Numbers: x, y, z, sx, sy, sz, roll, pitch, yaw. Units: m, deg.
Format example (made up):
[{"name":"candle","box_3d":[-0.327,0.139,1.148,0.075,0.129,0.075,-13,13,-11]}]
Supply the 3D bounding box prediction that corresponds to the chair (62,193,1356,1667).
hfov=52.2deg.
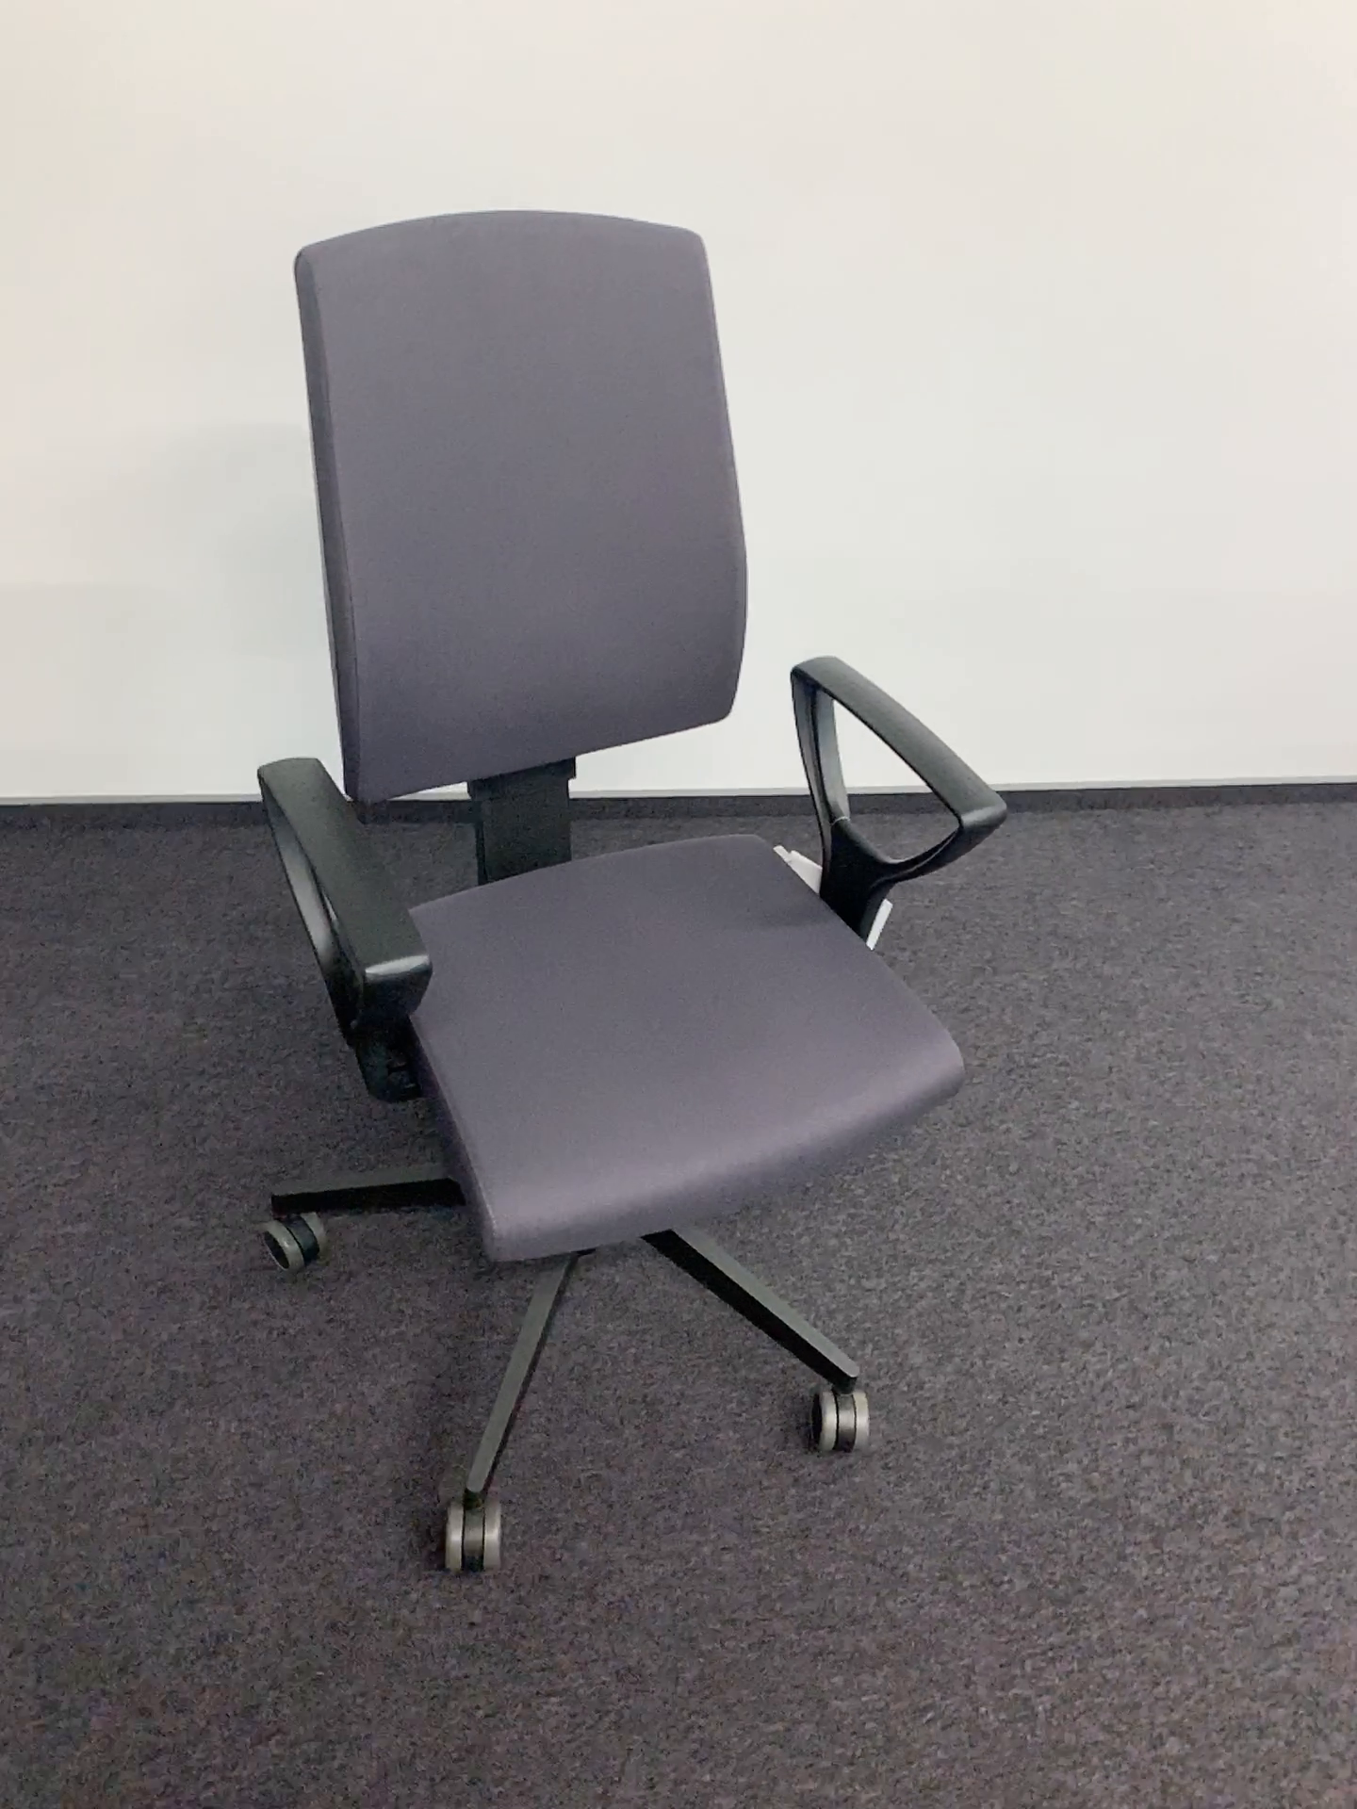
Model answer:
[{"name":"chair","box_3d":[-0.069,-0.019,1.338,0.701,1.034,0.783,-14,43,-23]}]
